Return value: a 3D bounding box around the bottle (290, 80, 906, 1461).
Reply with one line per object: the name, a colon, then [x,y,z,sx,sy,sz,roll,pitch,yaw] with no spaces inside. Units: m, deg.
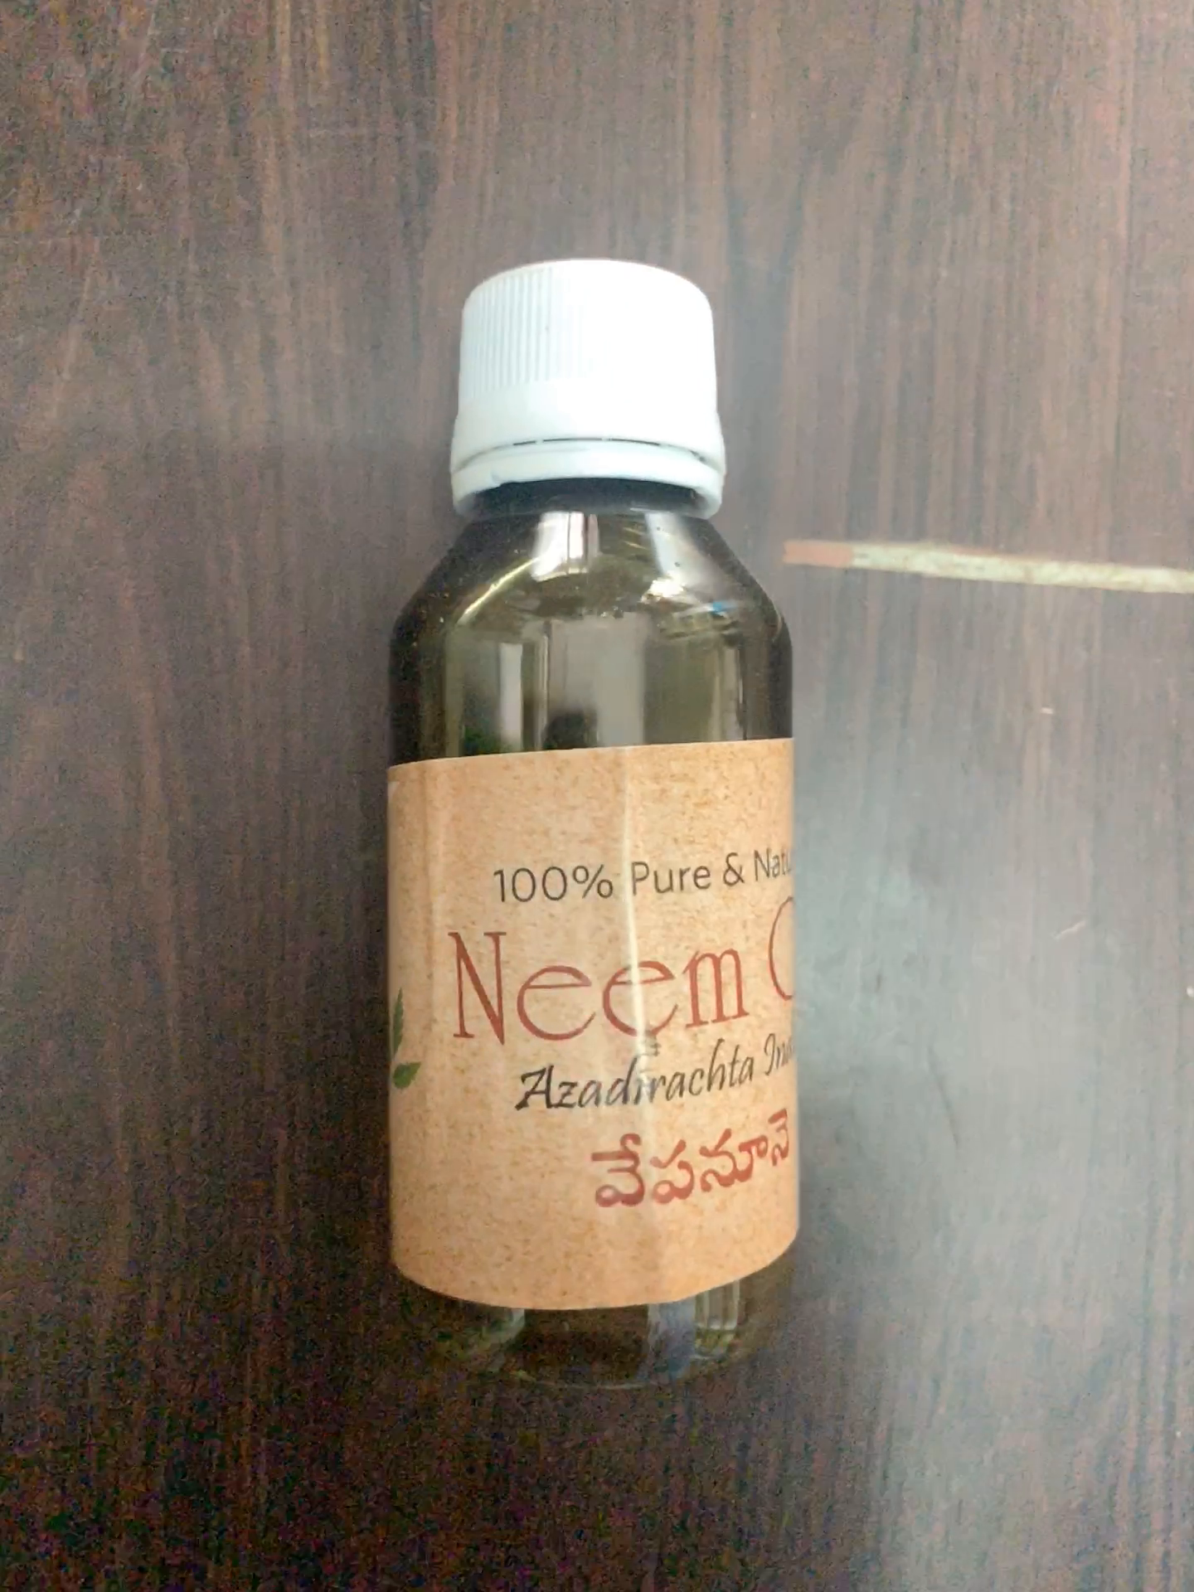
bottle: [-0.002,-0.003,0.139,0.050,0.040,0.120,-2,89,-24]
